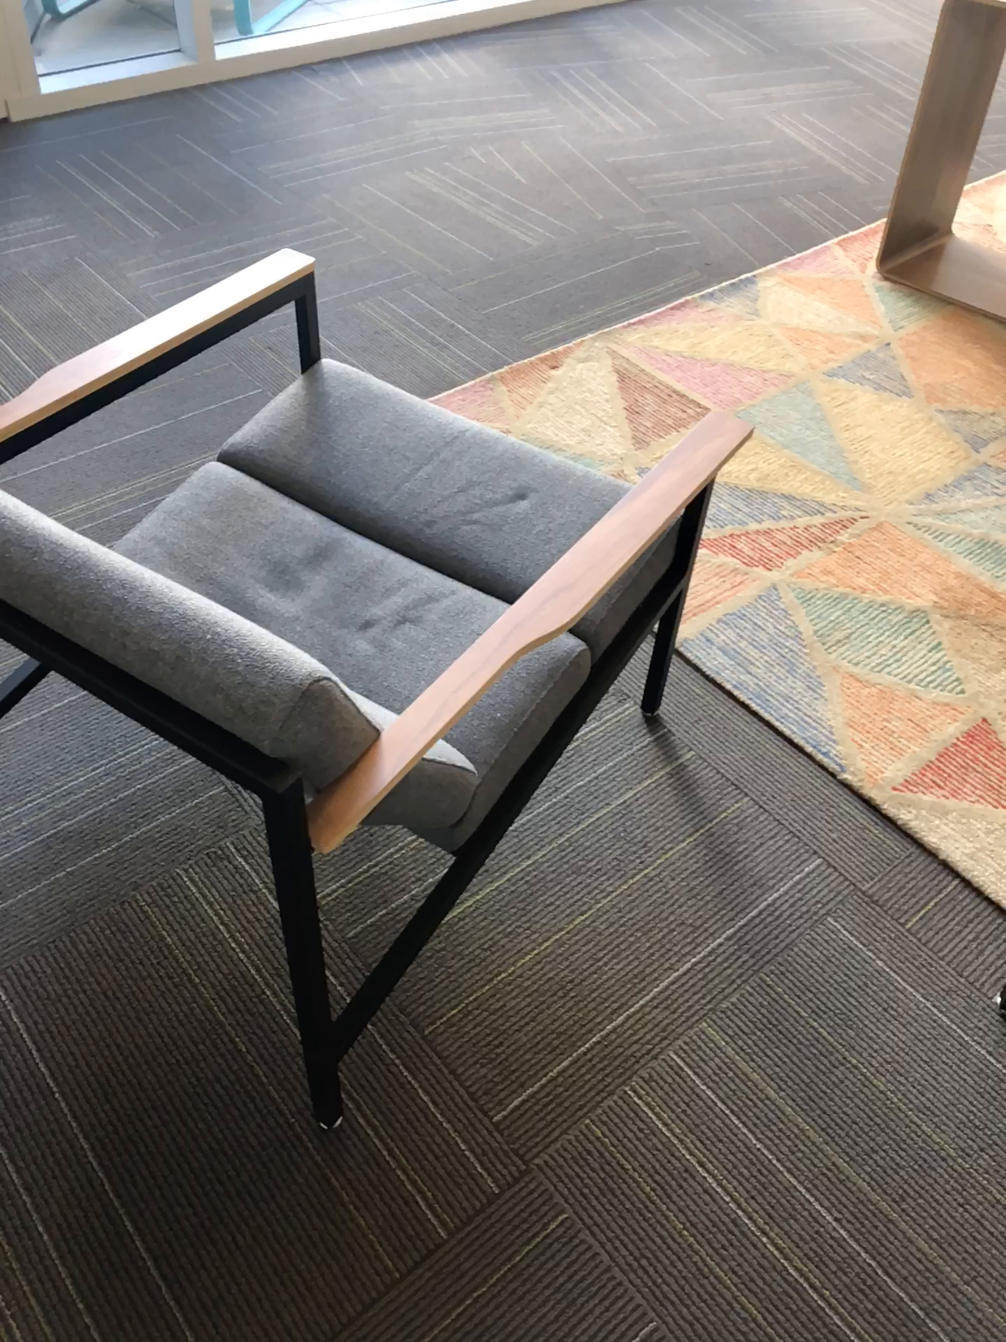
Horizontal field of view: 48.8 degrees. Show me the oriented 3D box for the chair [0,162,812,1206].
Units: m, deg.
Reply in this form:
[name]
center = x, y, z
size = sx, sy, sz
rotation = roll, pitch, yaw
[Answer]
[chair]
center = -0.228, -0.078, 1.429
size = 0.791, 0.697, 0.923
rotation = 26, 47, 22
